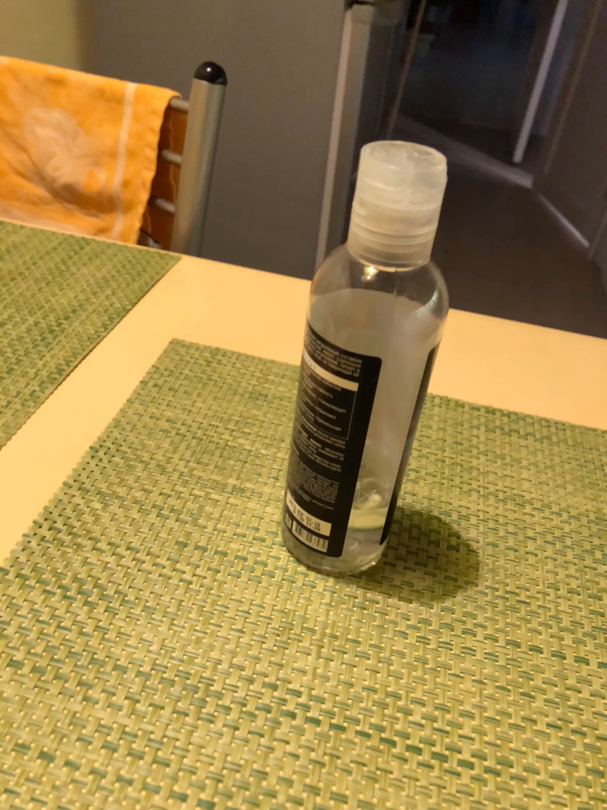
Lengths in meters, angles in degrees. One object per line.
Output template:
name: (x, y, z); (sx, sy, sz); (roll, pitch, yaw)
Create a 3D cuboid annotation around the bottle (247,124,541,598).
bottle: (0.021, -0.010, 0.231); (0.054, 0.149, 0.051); (5, 36, -4)
